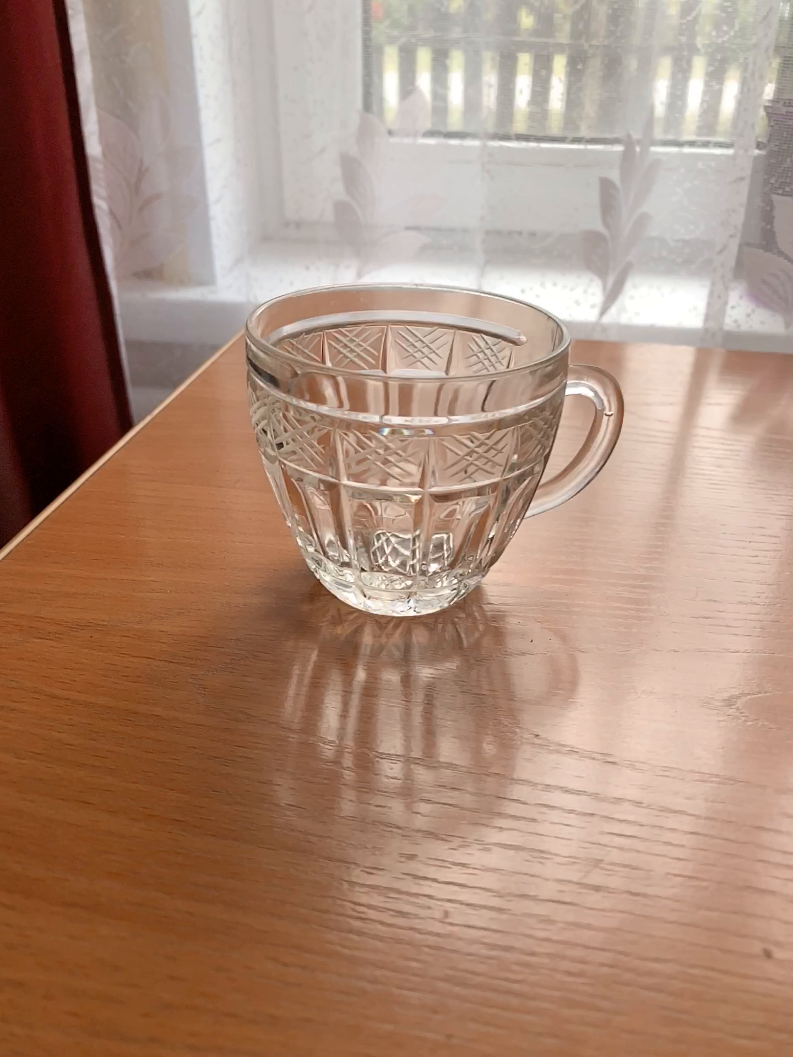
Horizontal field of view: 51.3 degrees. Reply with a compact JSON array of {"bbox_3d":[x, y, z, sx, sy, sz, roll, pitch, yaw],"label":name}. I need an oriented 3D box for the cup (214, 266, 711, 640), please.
[{"bbox_3d":[0.012,-0.024,0.218,0.100,0.066,0.083,-1,33,-2],"label":"cup"}]
